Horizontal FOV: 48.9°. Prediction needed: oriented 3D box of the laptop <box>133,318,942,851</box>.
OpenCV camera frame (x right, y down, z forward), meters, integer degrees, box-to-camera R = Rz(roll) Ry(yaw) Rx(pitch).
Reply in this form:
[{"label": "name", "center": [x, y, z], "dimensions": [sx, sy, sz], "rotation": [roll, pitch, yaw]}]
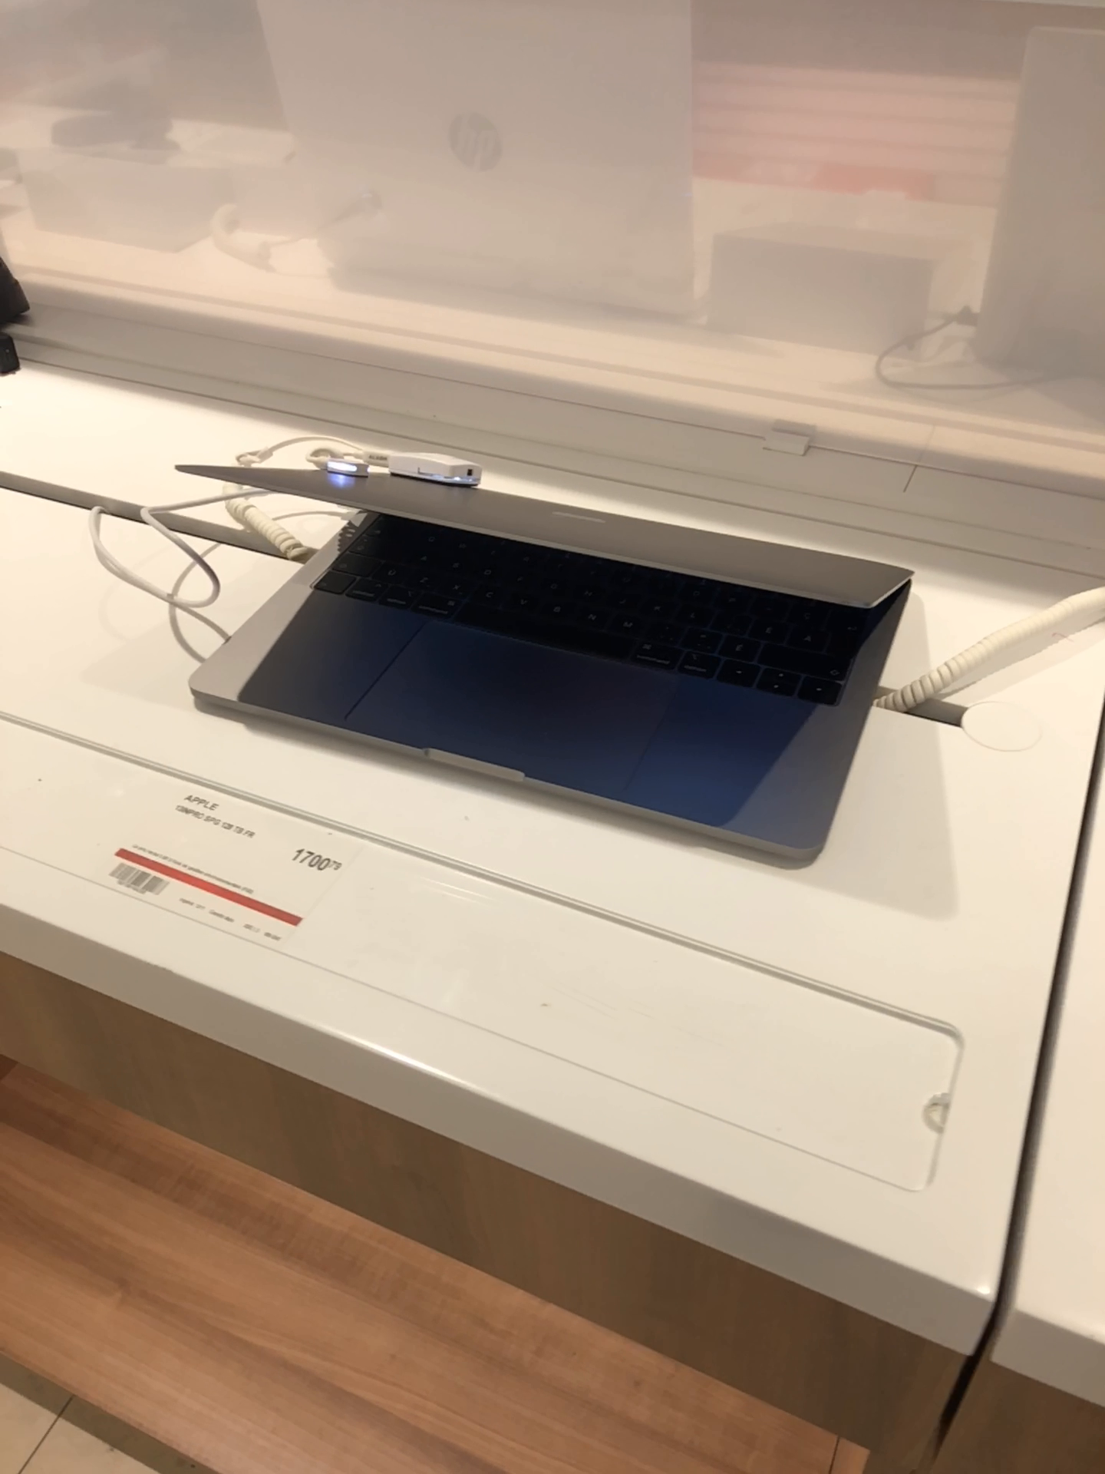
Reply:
[{"label": "laptop", "center": [0.003, -0.090, 0.569], "dimensions": [0.304, 0.104, 0.202], "rotation": [14, 43, 18]}]
